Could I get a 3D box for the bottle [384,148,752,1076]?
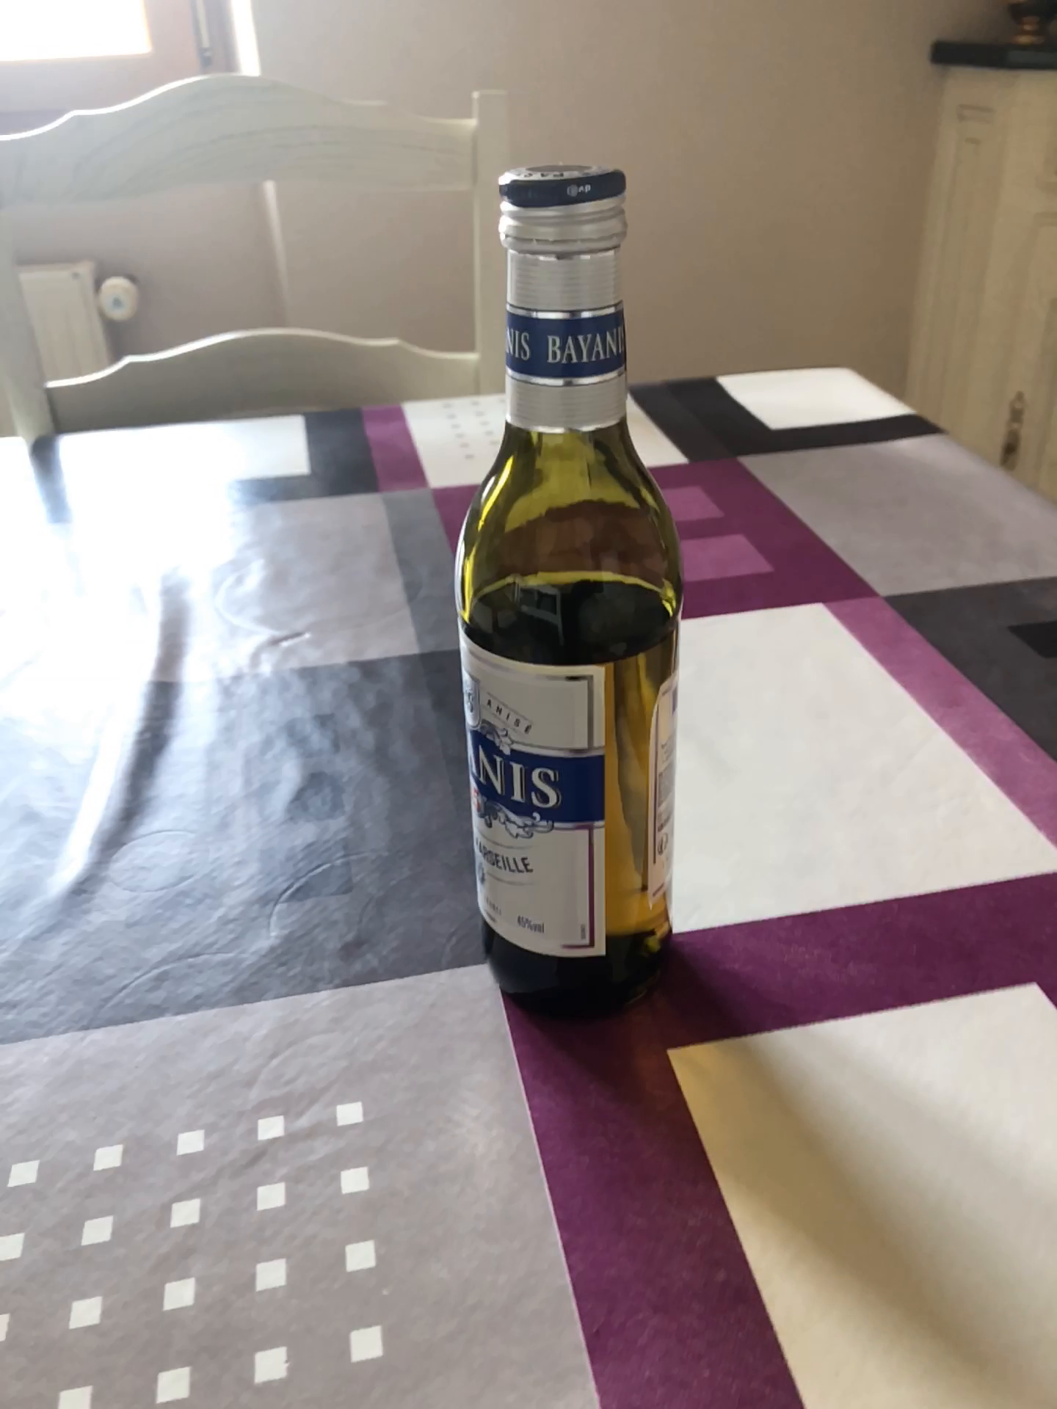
[{"bbox_3d":[0.011,-0.016,0.344,0.070,0.258,0.070,-2,30,1],"label":"bottle"}]
